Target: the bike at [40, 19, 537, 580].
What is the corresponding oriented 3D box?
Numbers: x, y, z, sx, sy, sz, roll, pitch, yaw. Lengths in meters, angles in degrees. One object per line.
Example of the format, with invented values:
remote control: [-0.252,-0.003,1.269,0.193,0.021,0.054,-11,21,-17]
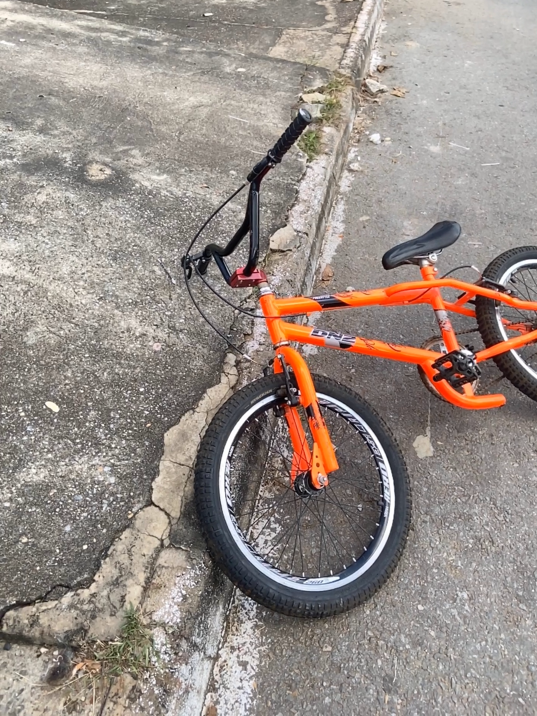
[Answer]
bike: [0.306,-0.282,1.433,1.357,0.857,0.748,-22,47,-25]
